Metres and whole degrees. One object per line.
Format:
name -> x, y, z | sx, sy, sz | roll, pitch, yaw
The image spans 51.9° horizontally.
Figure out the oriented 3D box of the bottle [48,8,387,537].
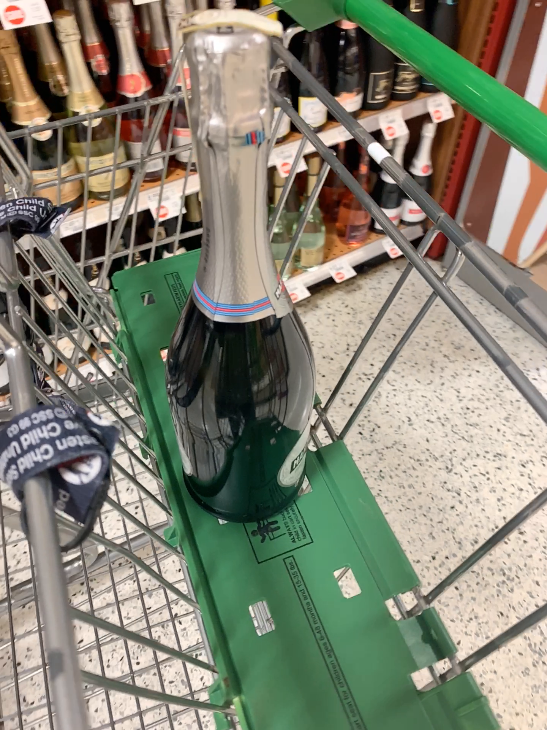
bottle -> -0.016, -0.014, 0.308 | 0.100, 0.287, 0.101 | 0, 50, 0
